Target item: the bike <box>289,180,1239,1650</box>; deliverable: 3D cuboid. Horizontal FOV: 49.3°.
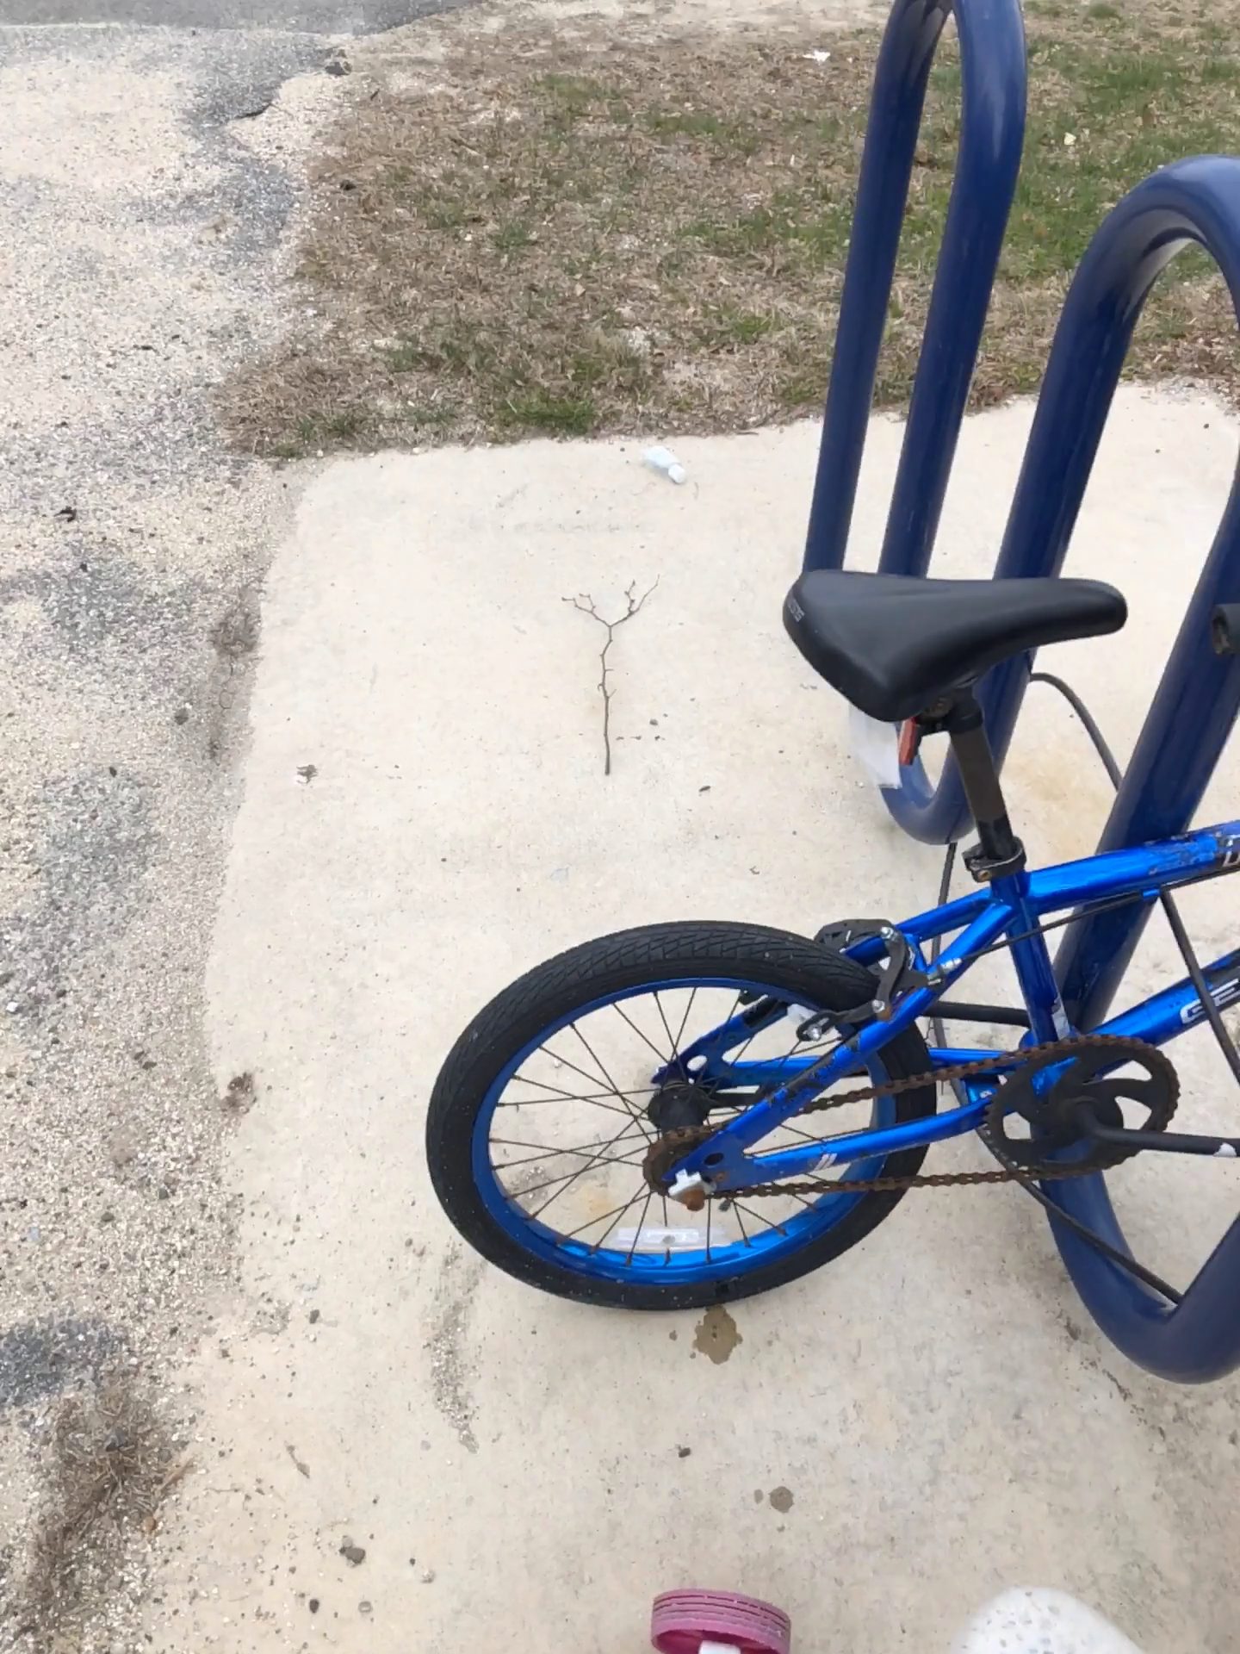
[{"bbox_3d":[0.360,0.077,1.043,1.028,0.840,0.625,3,43,3],"label":"bike"}]
